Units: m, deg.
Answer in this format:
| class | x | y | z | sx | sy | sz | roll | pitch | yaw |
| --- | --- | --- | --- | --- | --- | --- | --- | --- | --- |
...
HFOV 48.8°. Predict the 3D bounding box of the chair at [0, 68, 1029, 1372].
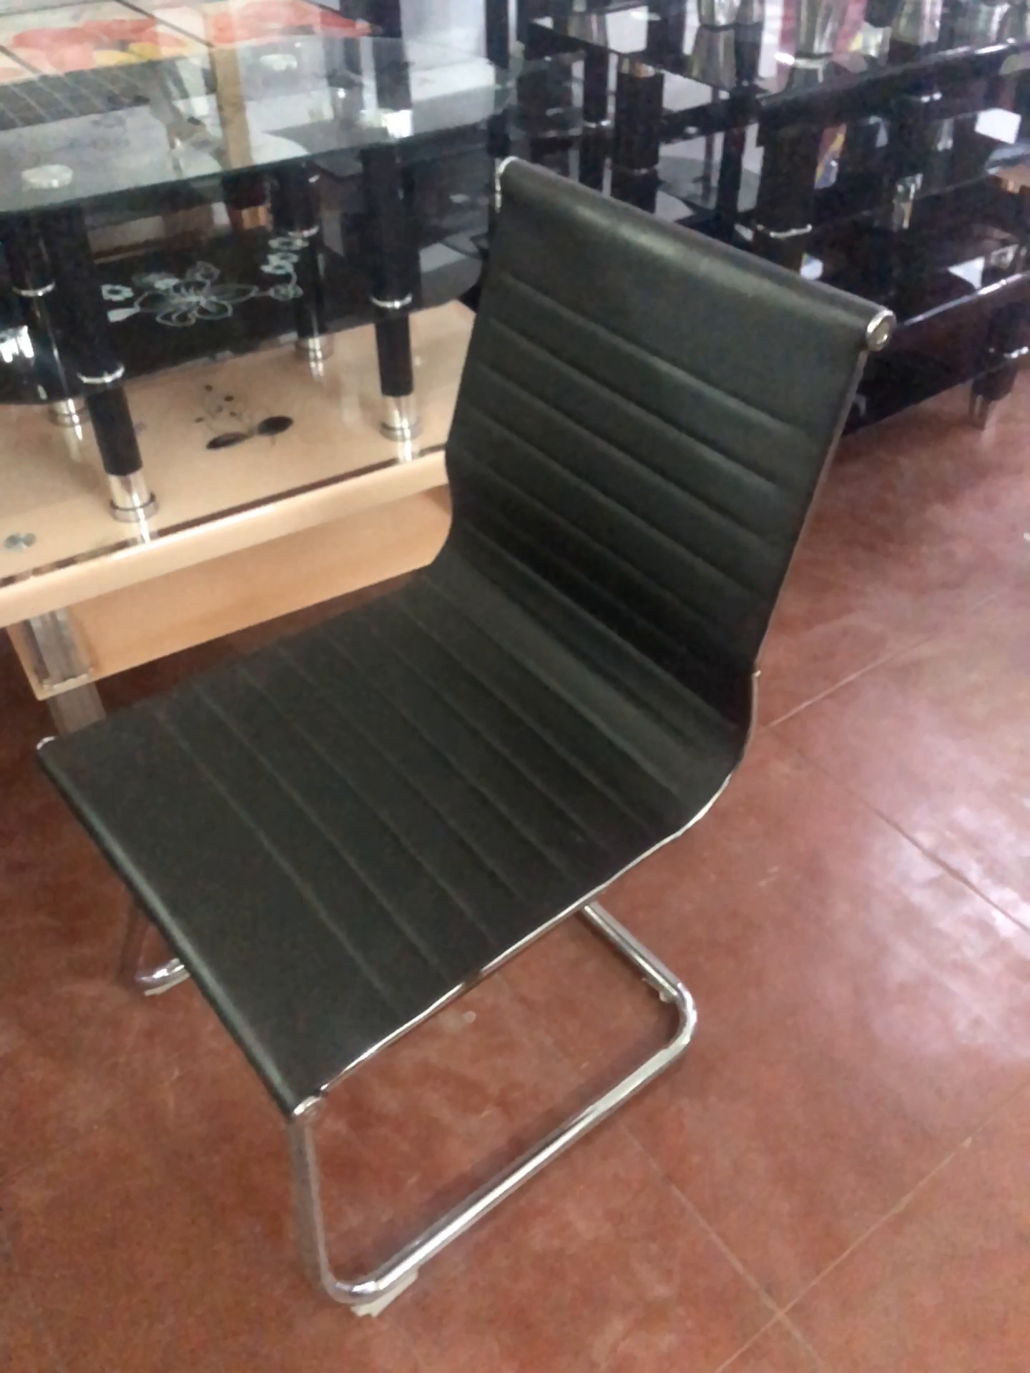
| class | x | y | z | sx | sy | sz | roll | pitch | yaw |
| --- | --- | --- | --- | --- | --- | --- | --- | --- | --- |
| chair | -0.077 | 0.031 | 1.018 | 0.682 | 0.856 | 0.591 | -29 | 48 | -29 |
